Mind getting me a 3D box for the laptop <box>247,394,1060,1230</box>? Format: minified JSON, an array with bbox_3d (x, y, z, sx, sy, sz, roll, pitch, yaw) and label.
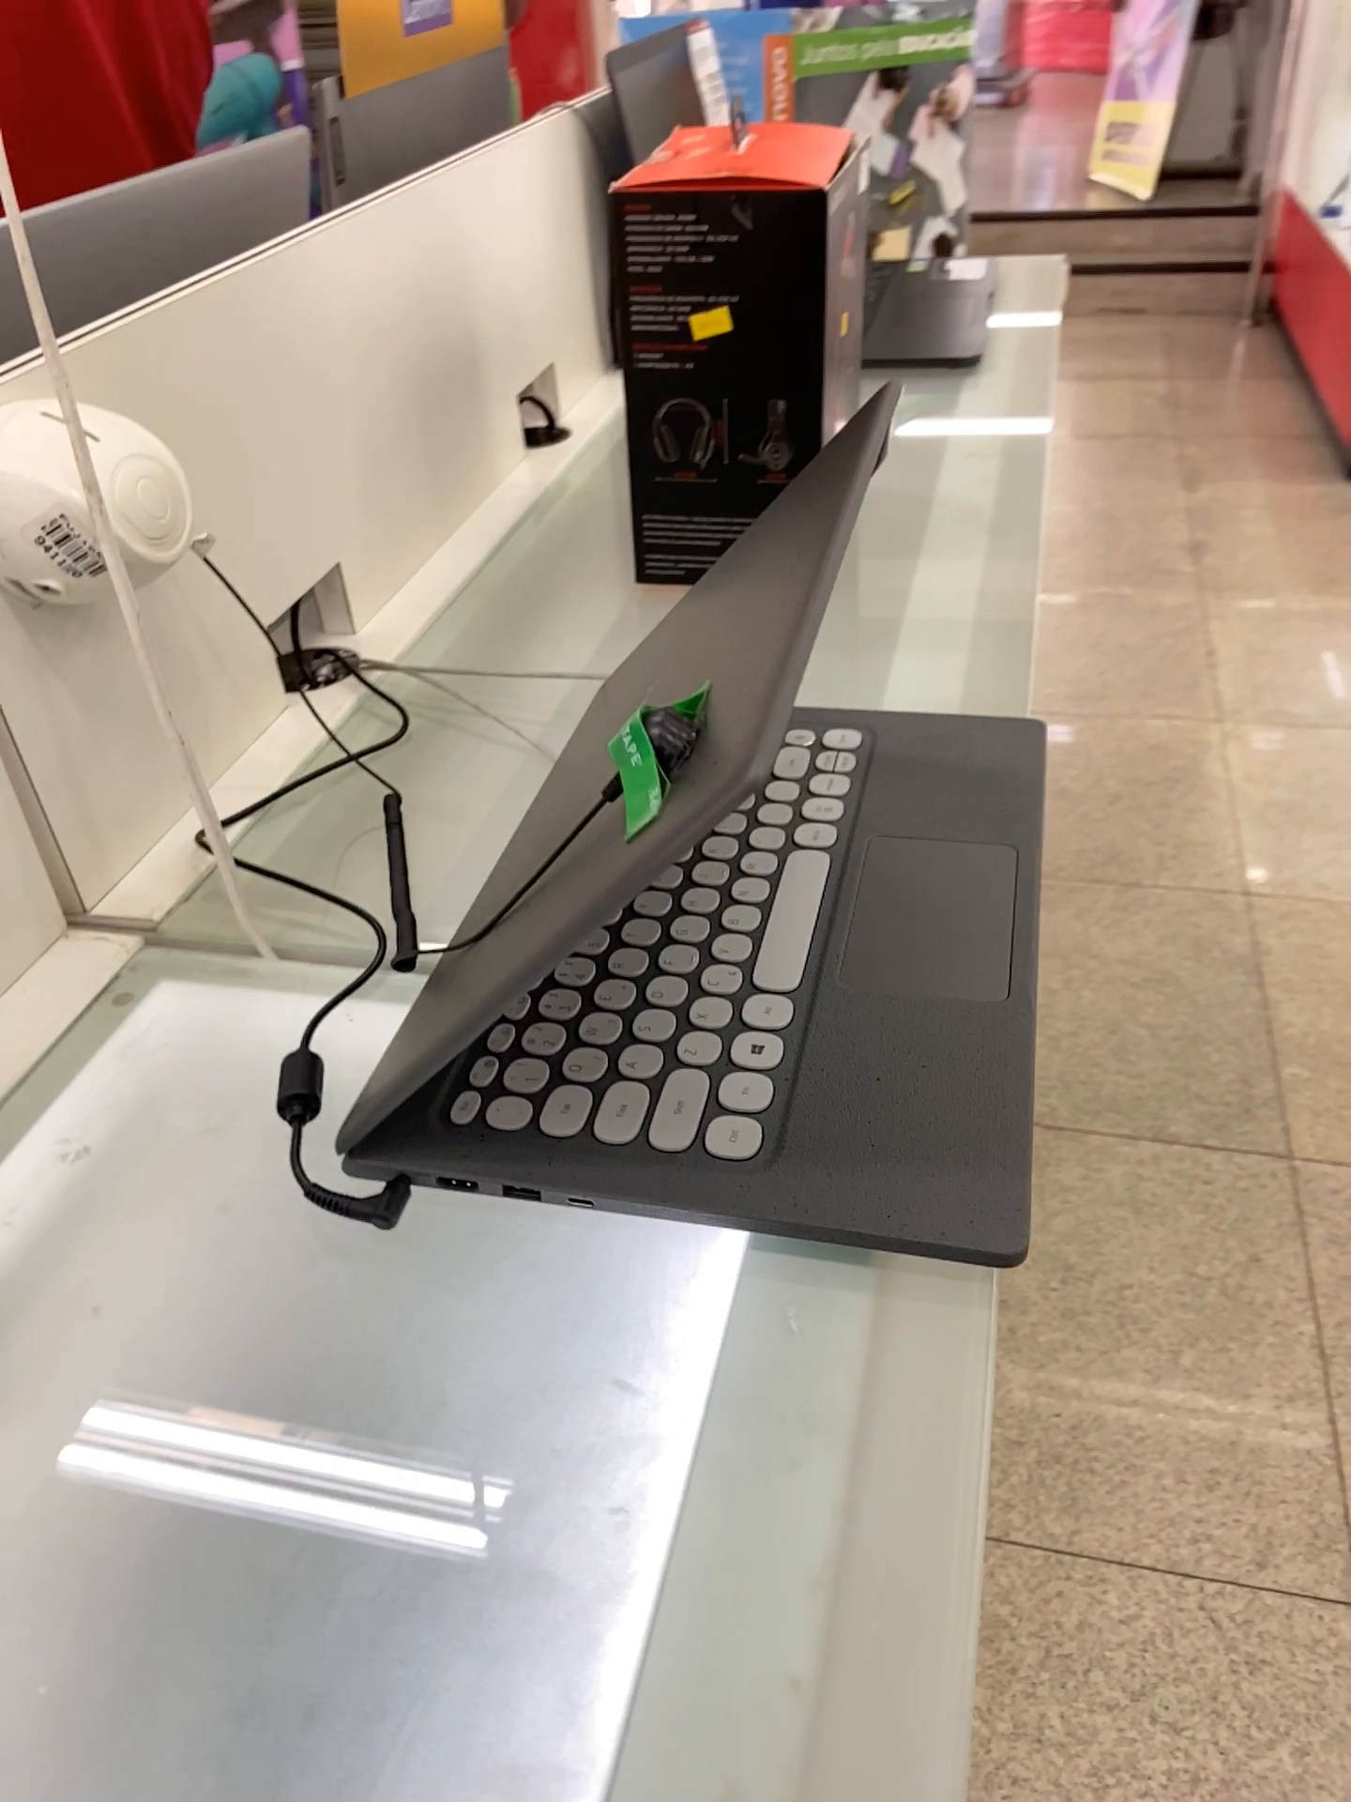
[{"bbox_3d":[0.027,-0.064,0.513,0.207,0.153,0.313,5,36,13],"label":"laptop"}]
